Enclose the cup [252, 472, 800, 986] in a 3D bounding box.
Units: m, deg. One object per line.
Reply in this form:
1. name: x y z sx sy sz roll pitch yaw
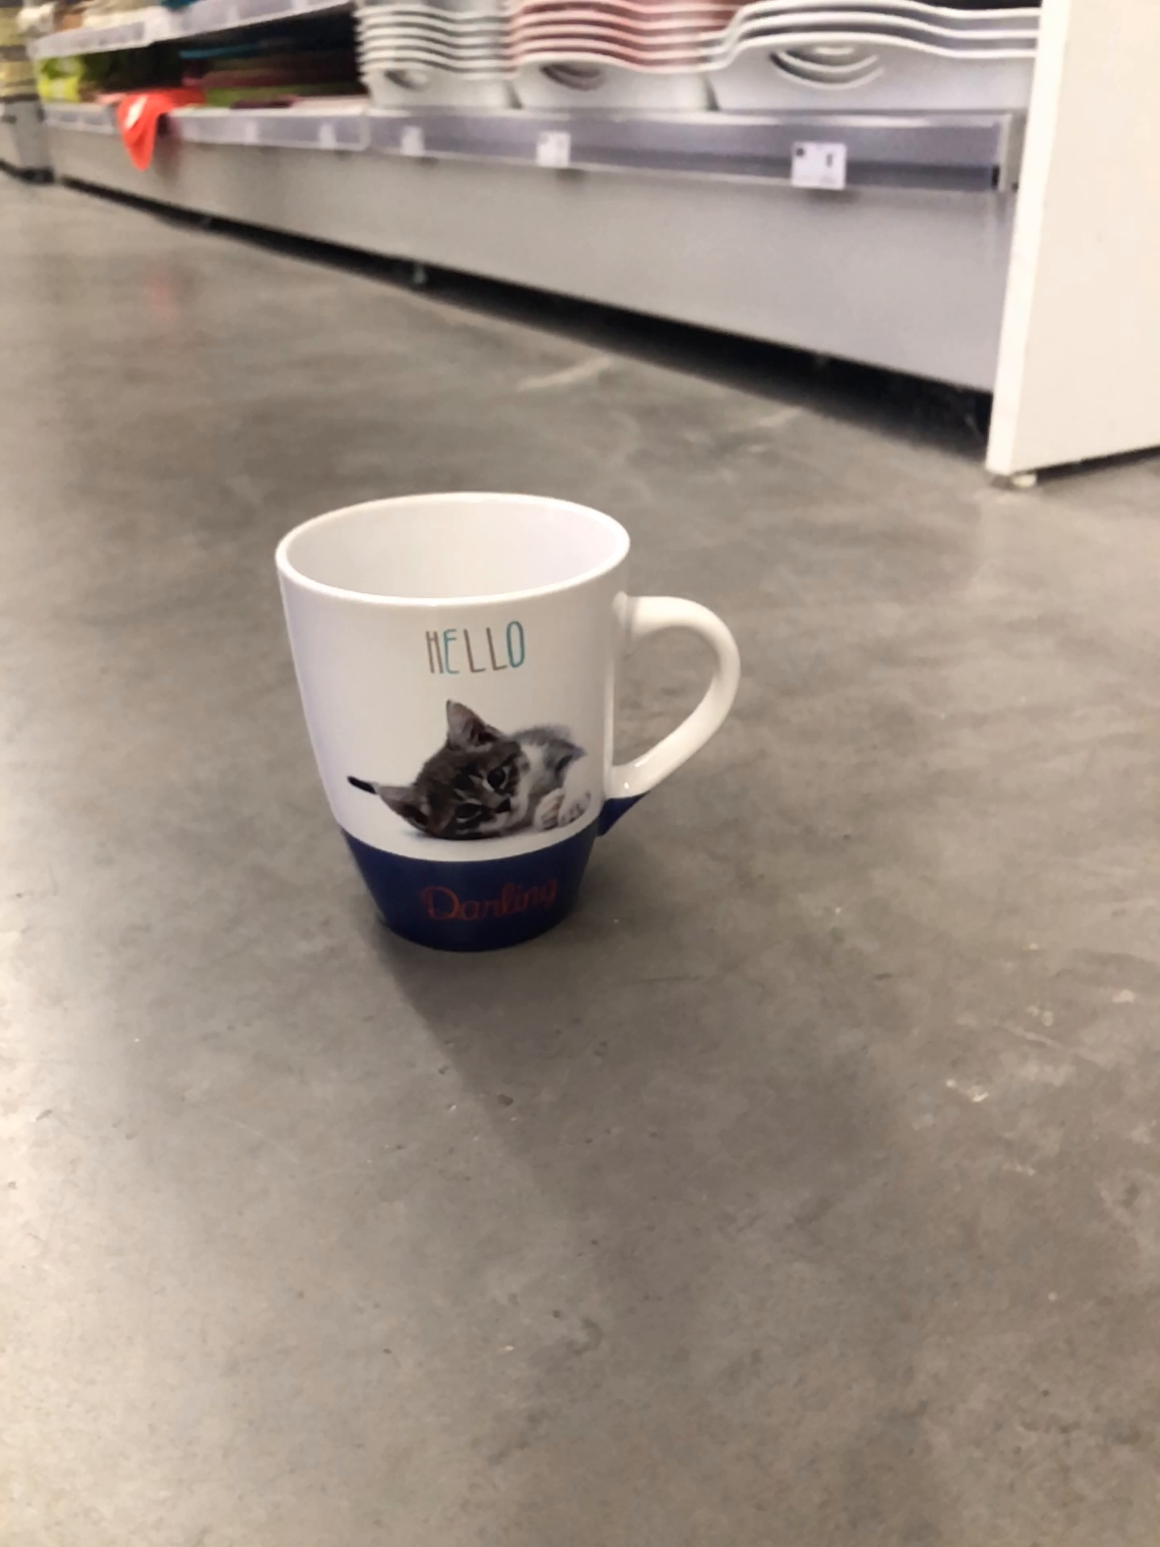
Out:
1. cup: -0.019 -0.020 0.367 0.127 0.098 0.112 -5 27 -8
